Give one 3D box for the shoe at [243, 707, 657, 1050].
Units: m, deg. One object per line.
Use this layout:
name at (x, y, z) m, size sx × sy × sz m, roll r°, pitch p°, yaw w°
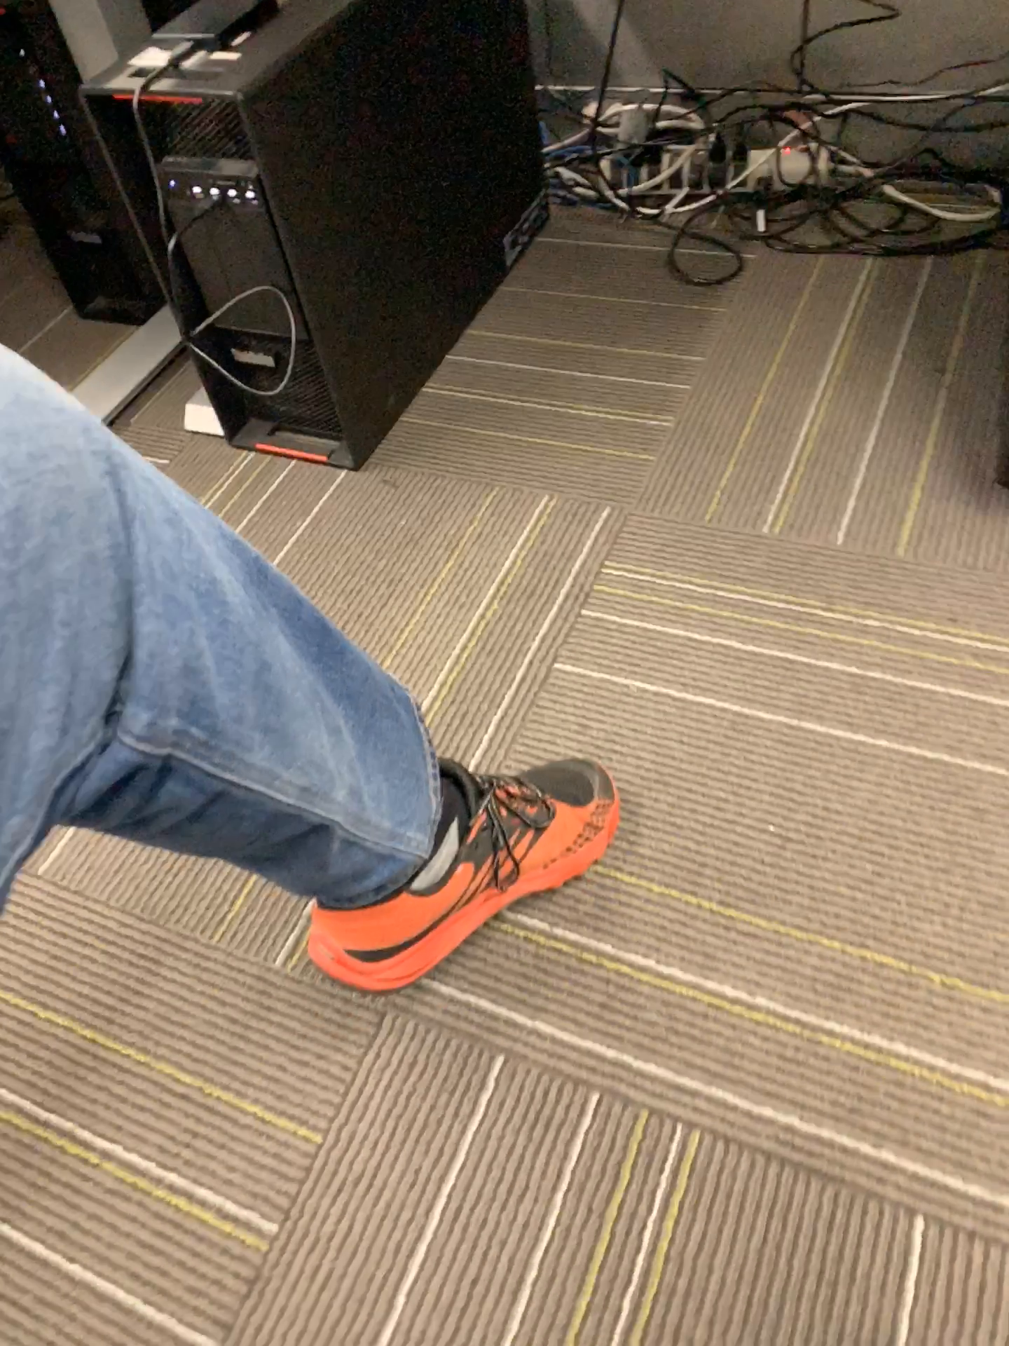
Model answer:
shoe at (-0.033, 0.143, 0.809) m, size 0.314 × 0.106 × 0.127 m, roll -20°, pitch 35°, yaw -40°
